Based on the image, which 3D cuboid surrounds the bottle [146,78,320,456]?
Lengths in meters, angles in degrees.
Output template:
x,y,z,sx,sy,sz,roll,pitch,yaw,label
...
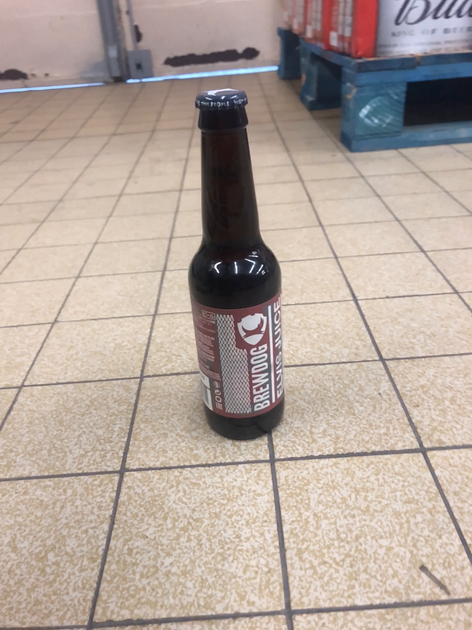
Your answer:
x,y,z,sx,sy,sz,roll,pitch,yaw,label
0.003,-0.025,0.320,0.070,0.209,0.070,-4,30,2,bottle
